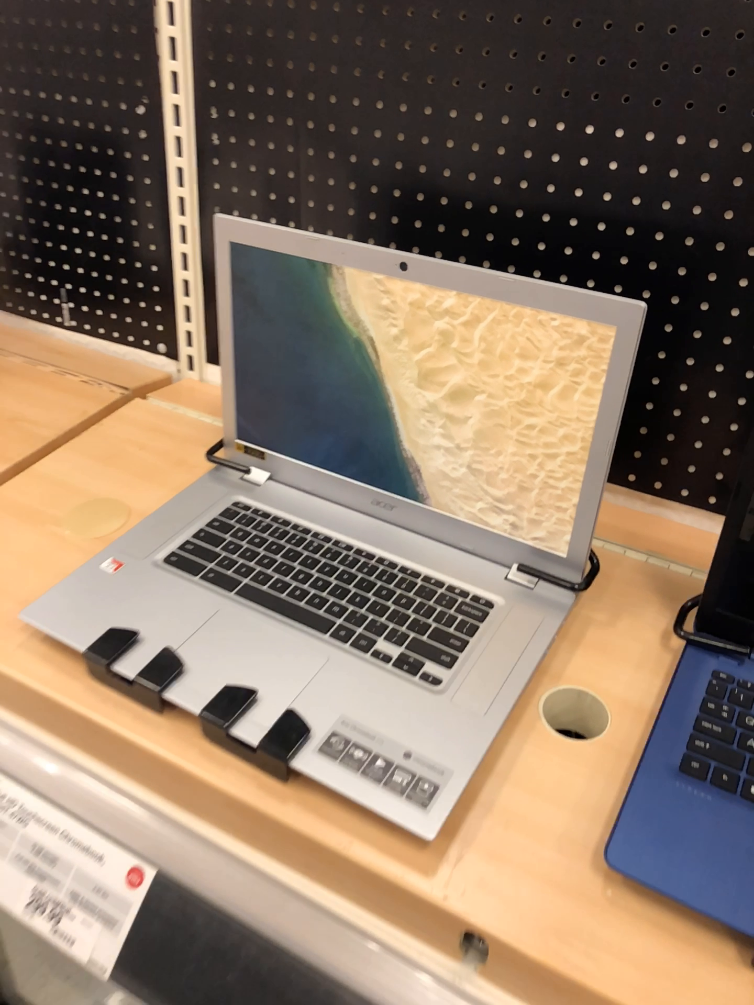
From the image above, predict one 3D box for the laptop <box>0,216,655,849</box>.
[{"bbox_3d":[-0.045,-0.024,0.620,0.371,0.246,0.287,19,36,25],"label":"laptop"}]
